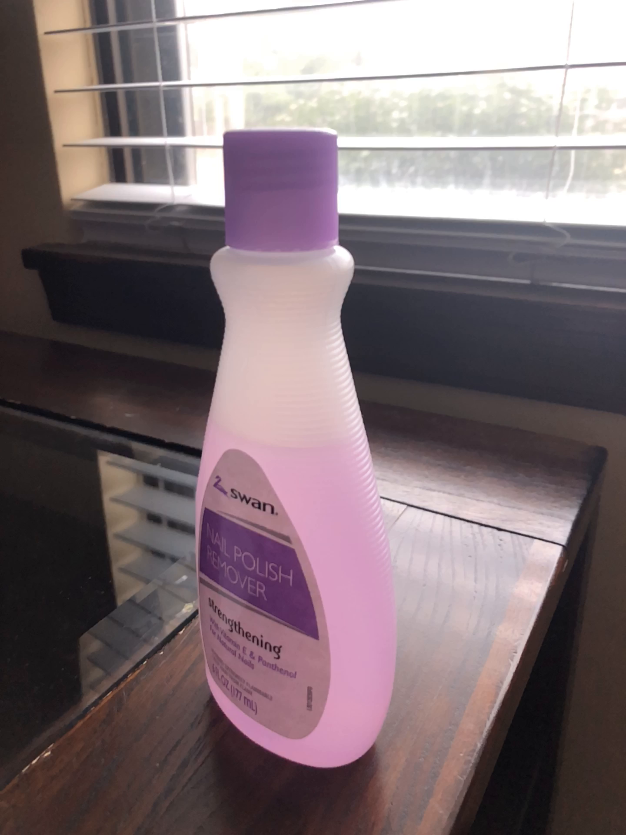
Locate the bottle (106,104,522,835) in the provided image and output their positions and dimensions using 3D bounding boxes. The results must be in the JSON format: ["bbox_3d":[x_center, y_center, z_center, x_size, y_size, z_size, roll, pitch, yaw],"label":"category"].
[{"bbox_3d":[-0.001,0.011,0.187,0.080,0.170,0.050,18,29,40],"label":"bottle"}]
